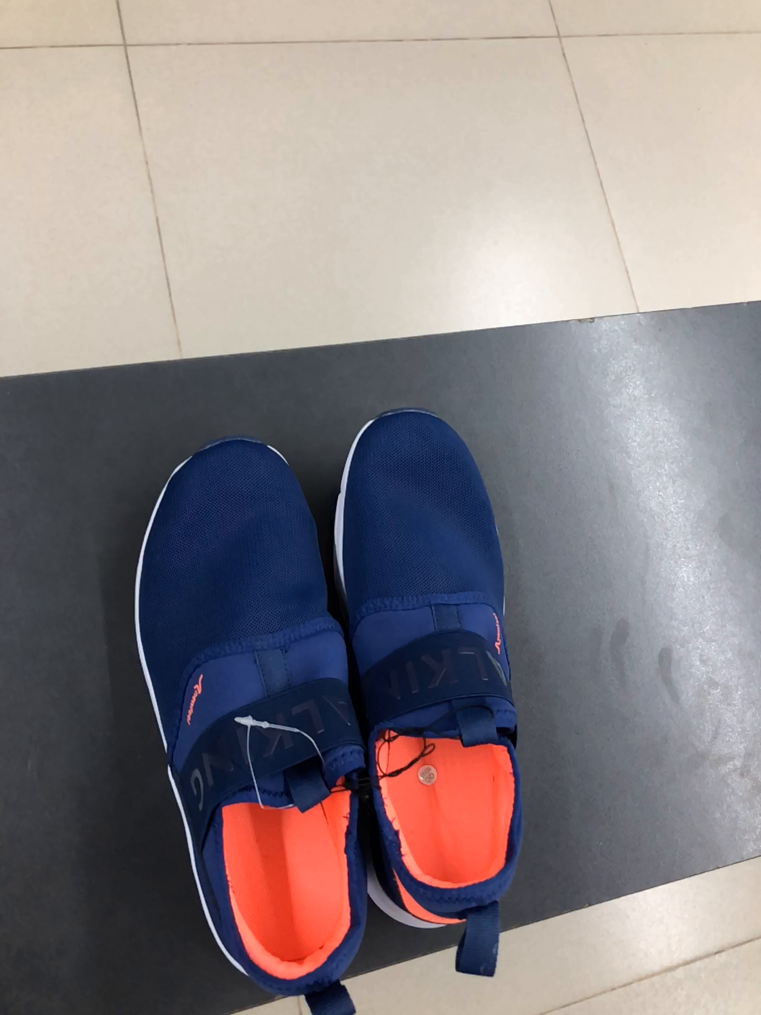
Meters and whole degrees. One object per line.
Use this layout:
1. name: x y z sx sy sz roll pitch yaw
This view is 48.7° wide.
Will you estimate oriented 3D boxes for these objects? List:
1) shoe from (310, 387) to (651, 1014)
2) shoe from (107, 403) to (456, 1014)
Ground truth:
1. shoe: 0.030 0.081 0.386 0.110 0.120 0.240 -3 78 -7
2. shoe: -0.057 0.097 0.410 0.110 0.120 0.260 -7 79 -14
